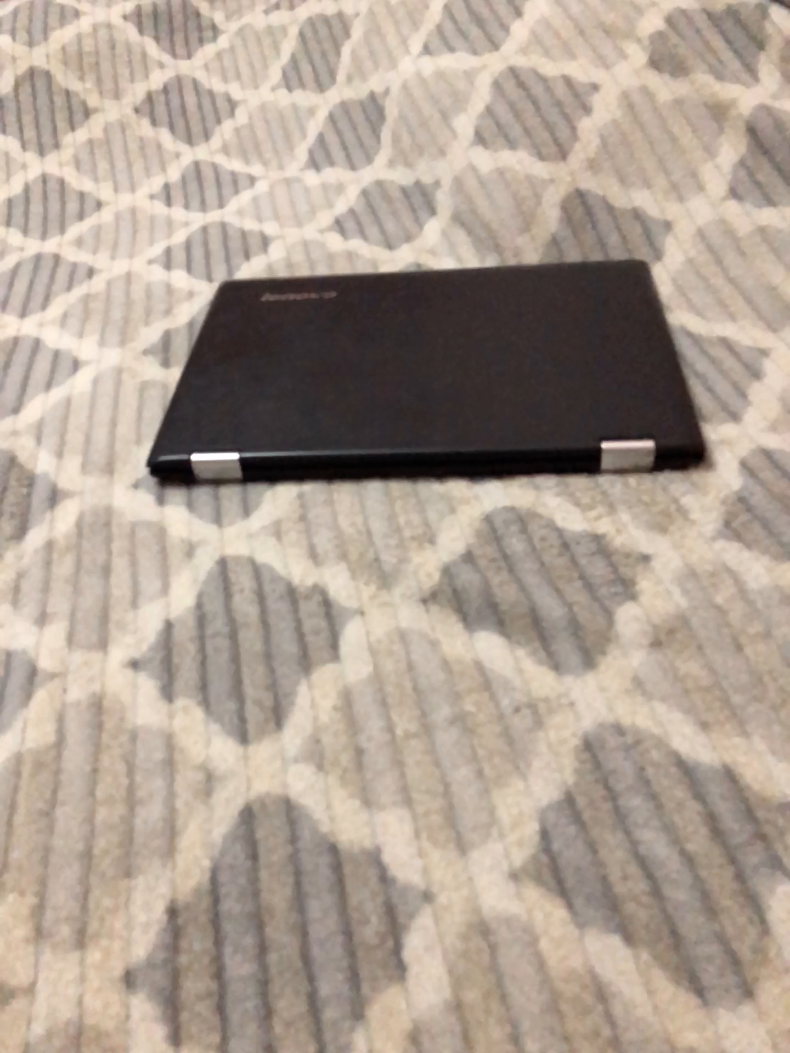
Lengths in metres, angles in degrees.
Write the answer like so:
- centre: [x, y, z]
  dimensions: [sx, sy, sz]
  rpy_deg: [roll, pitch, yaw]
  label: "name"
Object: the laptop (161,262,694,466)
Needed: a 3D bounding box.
- centre: [0.023, -0.127, 0.628]
  dimensions: [0.339, 0.005, 0.232]
  rpy_deg: [-1, 45, 5]
  label: "laptop"
